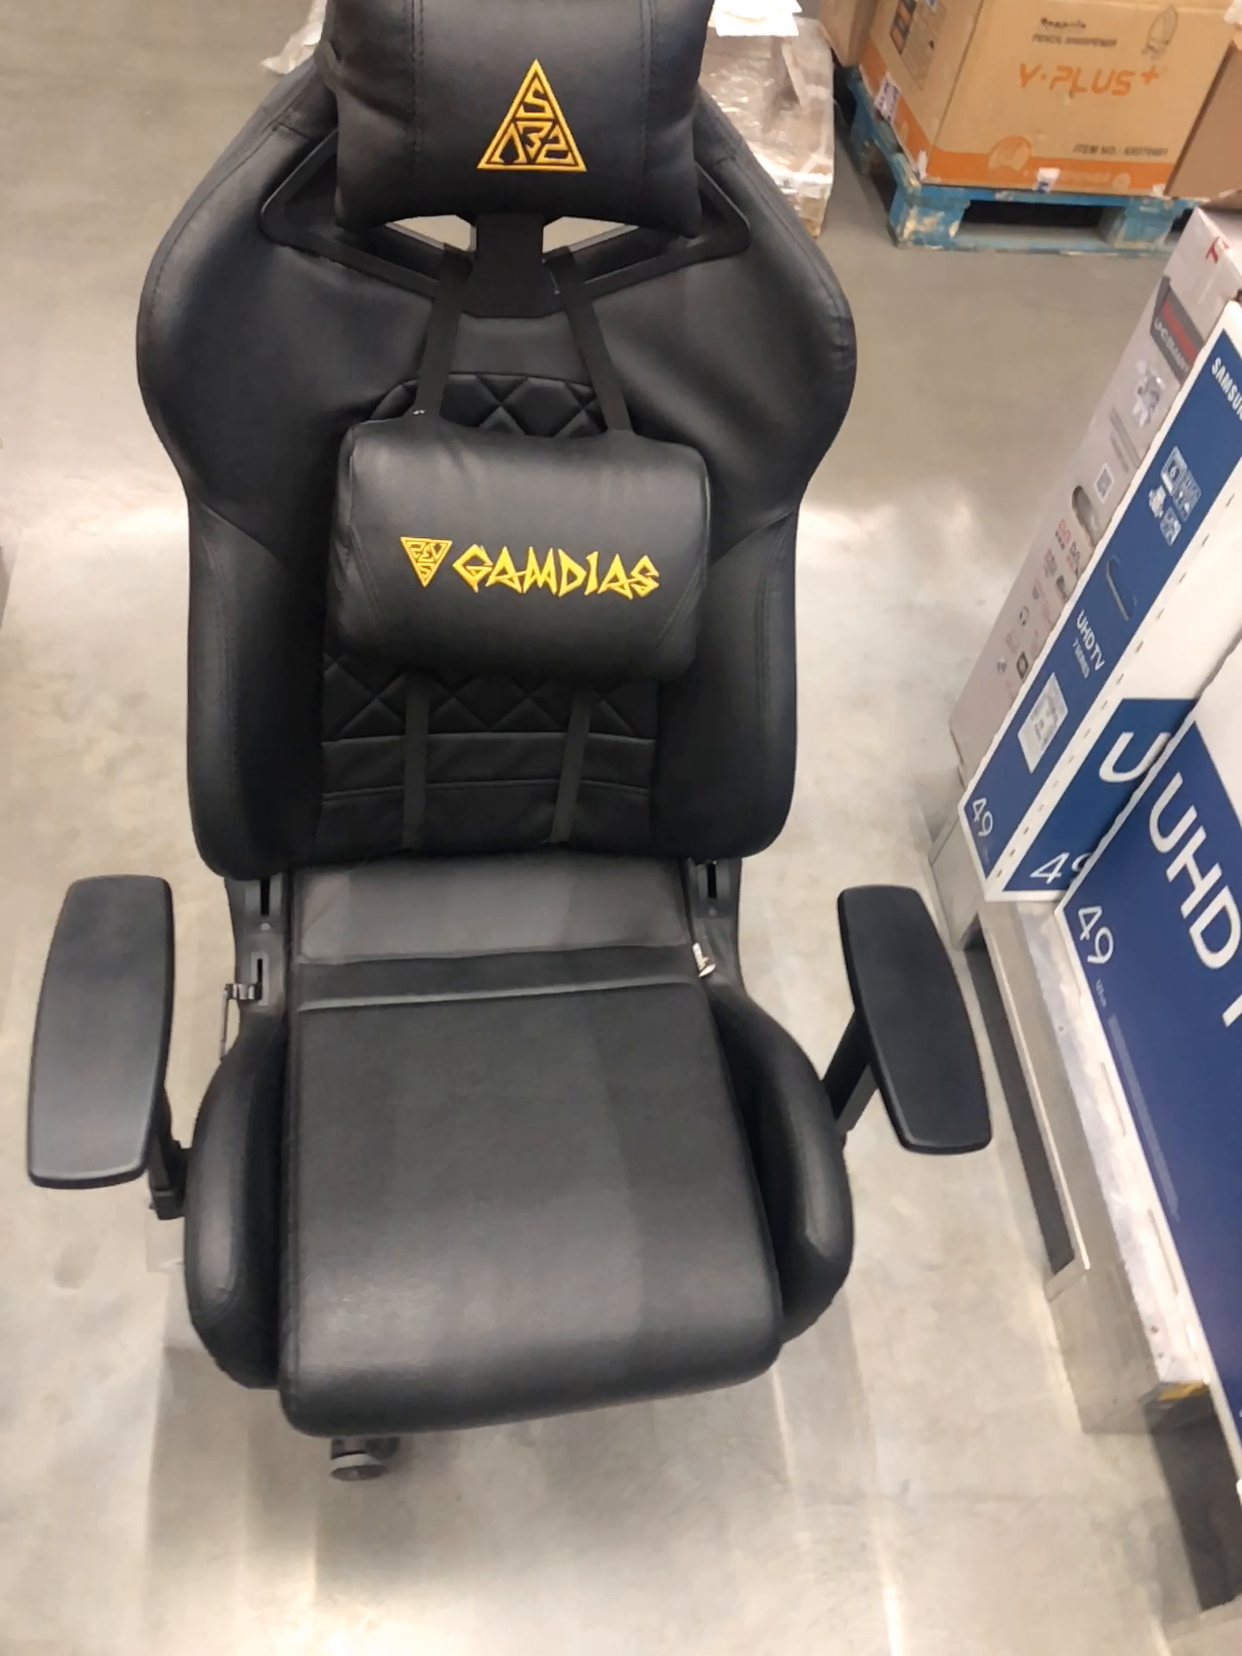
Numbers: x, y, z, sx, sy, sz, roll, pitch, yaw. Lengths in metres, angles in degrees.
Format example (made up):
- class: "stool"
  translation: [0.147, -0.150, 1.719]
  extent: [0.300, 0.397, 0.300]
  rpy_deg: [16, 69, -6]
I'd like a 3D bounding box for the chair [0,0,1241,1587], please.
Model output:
- class: "chair"
  translation: [-0.078, 0.025, 1.107]
  extent: [0.741, 1.282, 0.784]
  rpy_deg: [-2, 54, -11]
